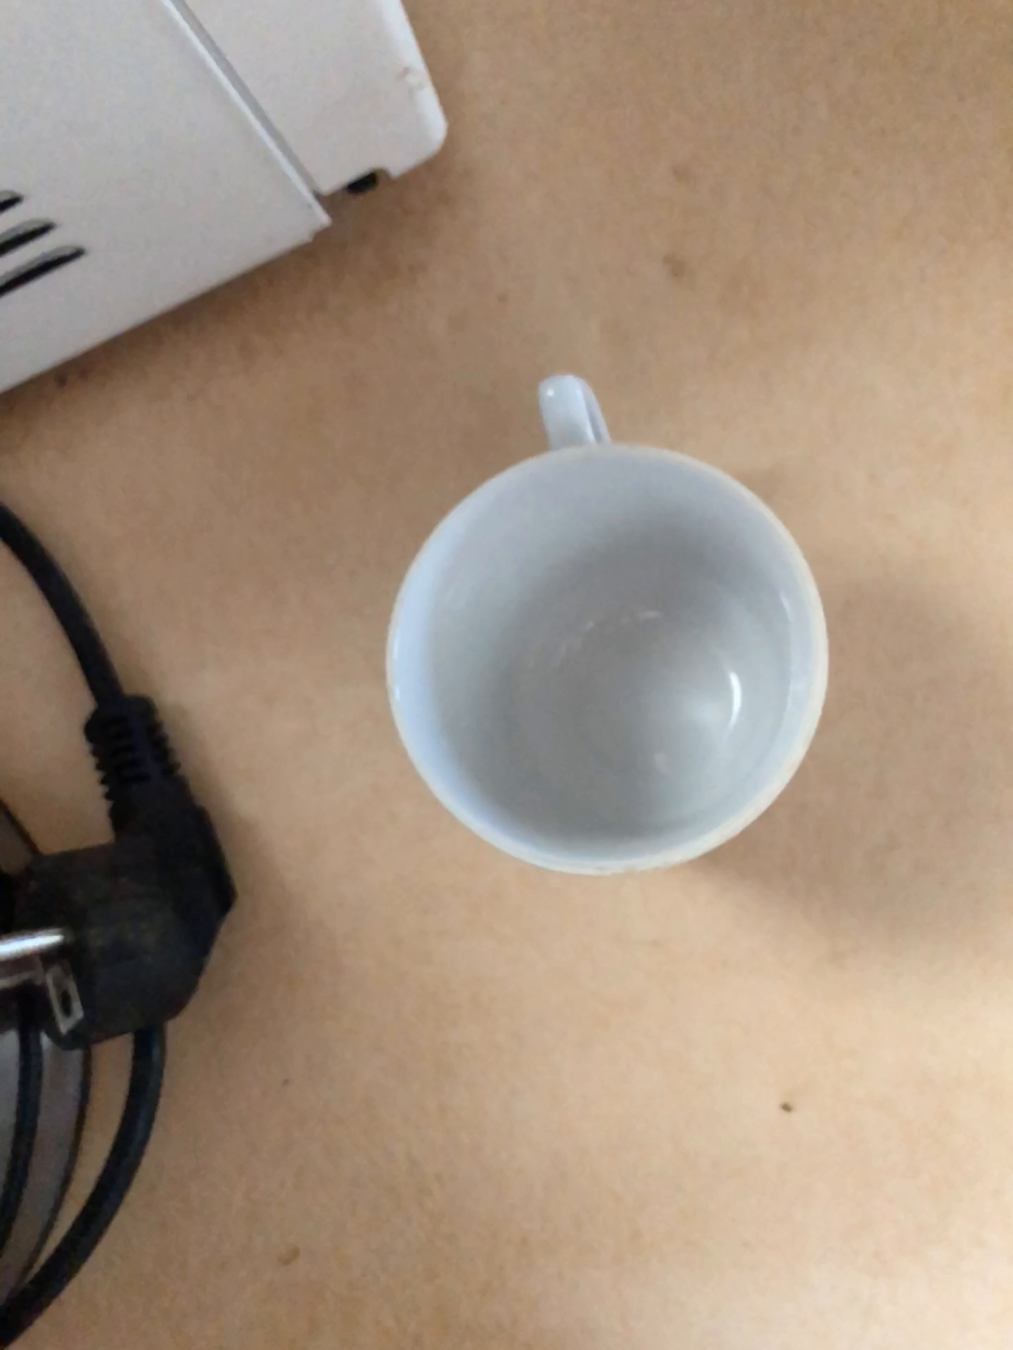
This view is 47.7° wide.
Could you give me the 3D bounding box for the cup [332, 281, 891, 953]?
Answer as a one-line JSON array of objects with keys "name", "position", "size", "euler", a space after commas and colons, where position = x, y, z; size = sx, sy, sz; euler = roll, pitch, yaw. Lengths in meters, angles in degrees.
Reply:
[{"name": "cup", "position": [0.018, -0.005, 0.195], "size": [0.070, 0.050, 0.090], "euler": [-11, 79, 12]}]
